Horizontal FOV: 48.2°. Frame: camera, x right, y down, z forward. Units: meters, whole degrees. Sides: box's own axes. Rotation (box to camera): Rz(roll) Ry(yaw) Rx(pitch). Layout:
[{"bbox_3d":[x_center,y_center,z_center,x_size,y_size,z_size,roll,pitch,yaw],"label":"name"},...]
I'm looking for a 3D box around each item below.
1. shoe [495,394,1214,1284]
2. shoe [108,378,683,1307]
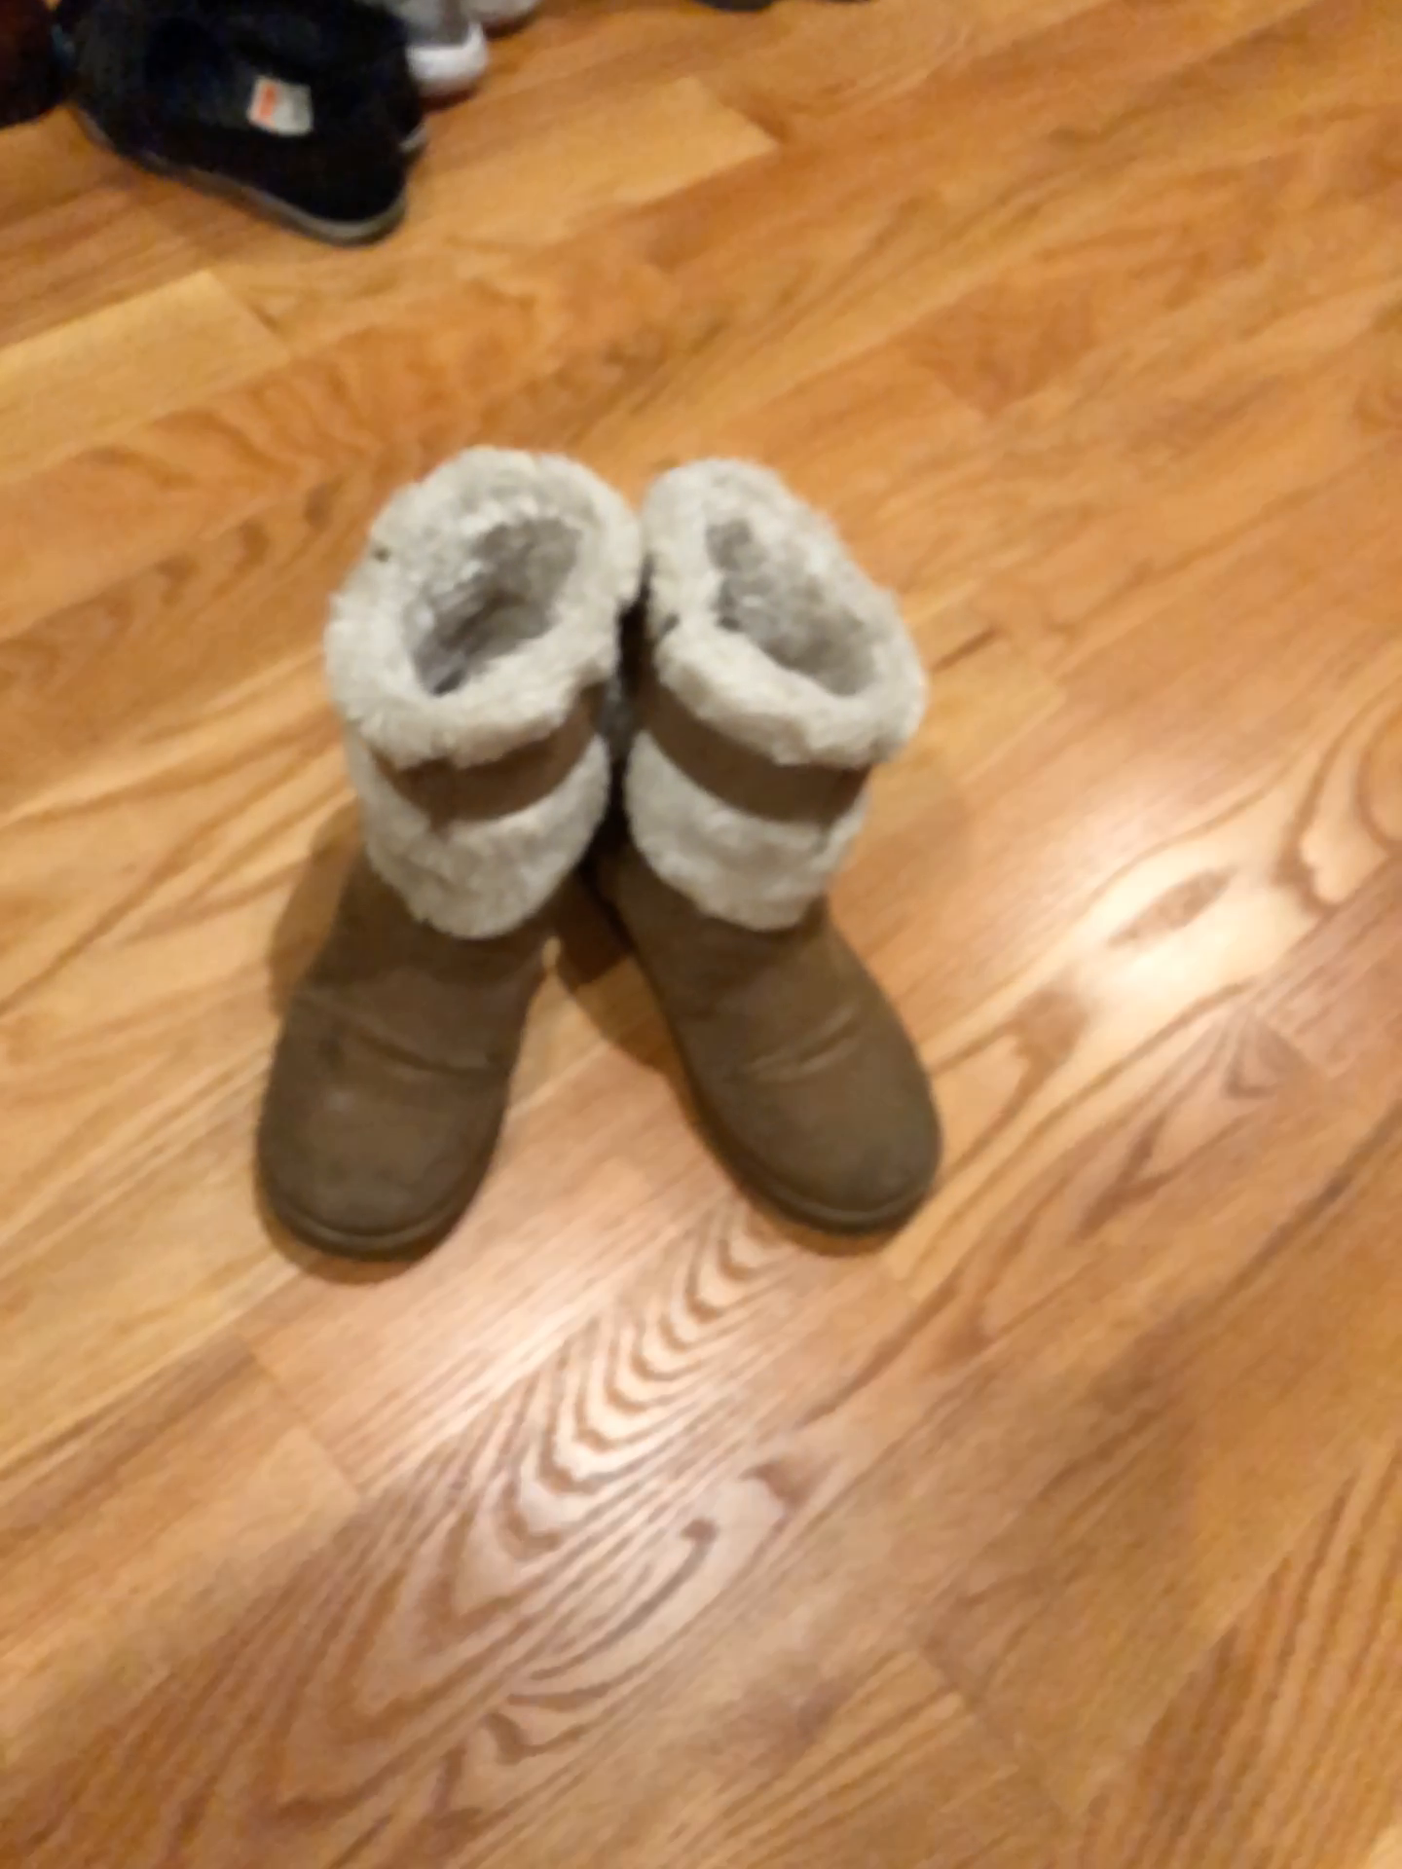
[{"bbox_3d":[0.034,-0.032,0.597,0.113,0.193,0.255,-23,67,-22],"label":"shoe"},{"bbox_3d":[-0.097,-0.027,0.566,0.106,0.193,0.255,14,59,-3],"label":"shoe"}]
